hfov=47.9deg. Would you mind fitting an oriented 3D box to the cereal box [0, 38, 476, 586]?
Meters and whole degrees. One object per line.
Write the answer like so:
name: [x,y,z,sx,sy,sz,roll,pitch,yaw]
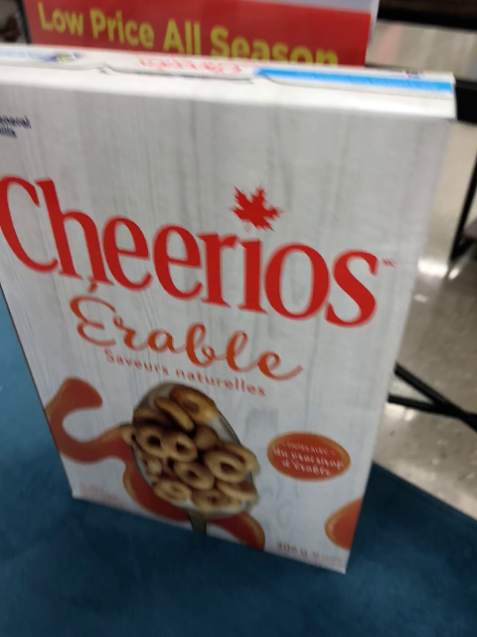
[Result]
cereal box: [-0.018,0.015,0.280,0.210,0.269,0.060,10,39,13]
